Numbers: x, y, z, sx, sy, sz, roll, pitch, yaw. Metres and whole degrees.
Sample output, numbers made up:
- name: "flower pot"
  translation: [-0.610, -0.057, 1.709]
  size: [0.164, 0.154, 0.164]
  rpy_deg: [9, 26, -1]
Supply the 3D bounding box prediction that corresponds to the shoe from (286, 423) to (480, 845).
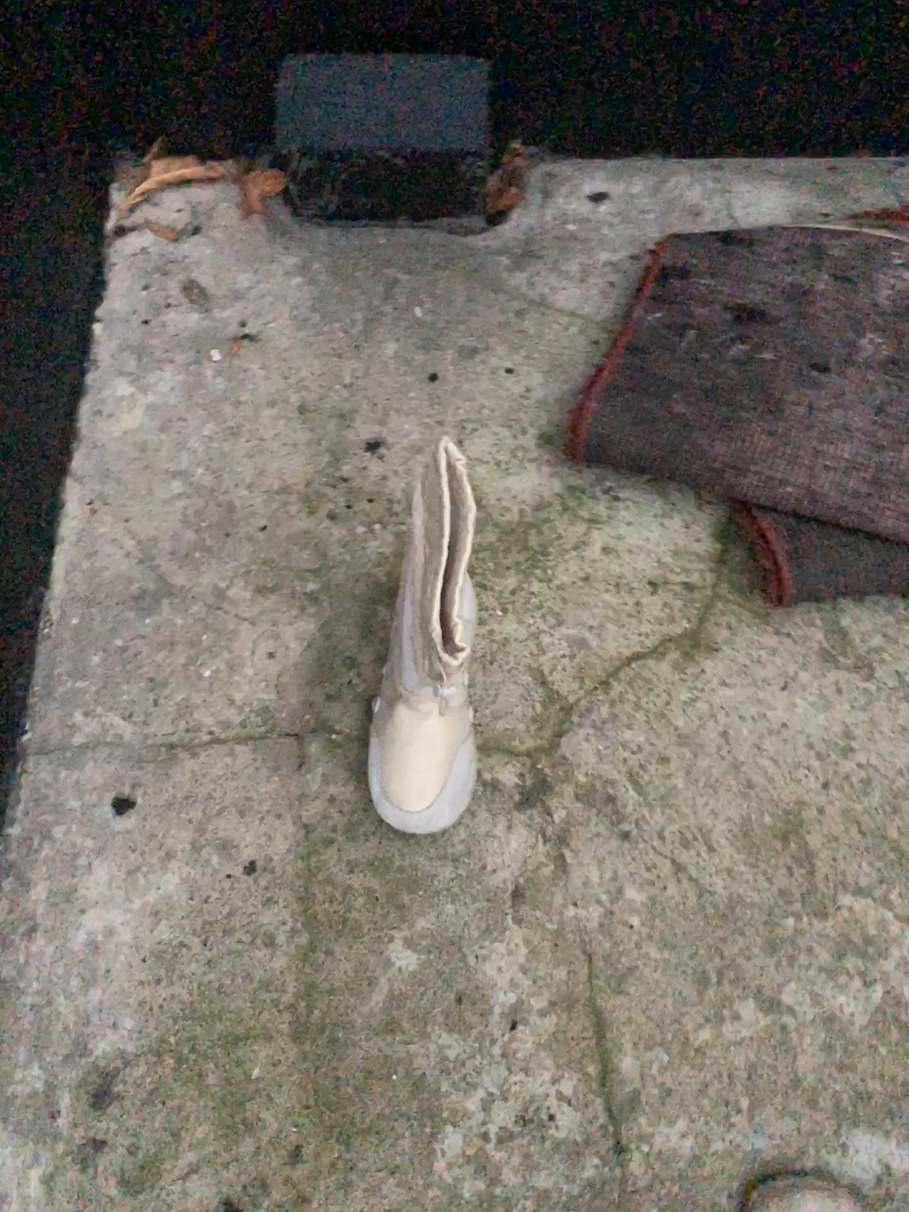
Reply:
- name: "shoe"
  translation: [-0.040, 0.045, 0.764]
  size: [0.110, 0.299, 0.271]
  rpy_deg: [1, 71, 3]
